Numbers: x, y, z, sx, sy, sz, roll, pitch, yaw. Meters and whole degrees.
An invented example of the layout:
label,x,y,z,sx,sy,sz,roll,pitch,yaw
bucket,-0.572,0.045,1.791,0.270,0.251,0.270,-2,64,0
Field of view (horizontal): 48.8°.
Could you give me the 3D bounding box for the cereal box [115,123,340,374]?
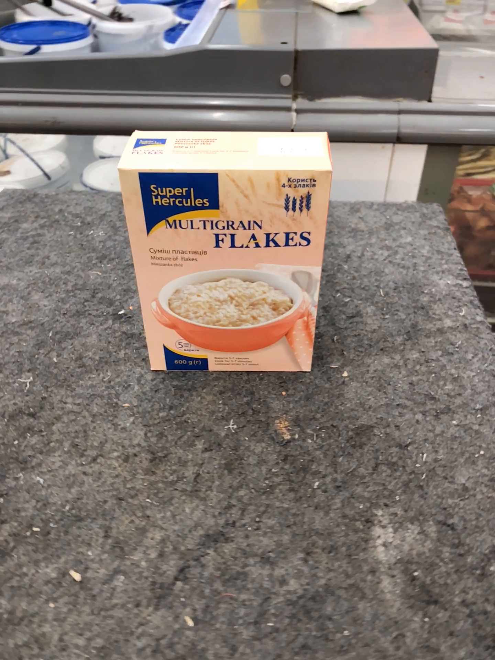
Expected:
label,x,y,z,sx,sy,sz,roll,pitch,yaw
cereal box,-0.012,-0.059,0.454,0.150,0.199,0.071,0,41,1
